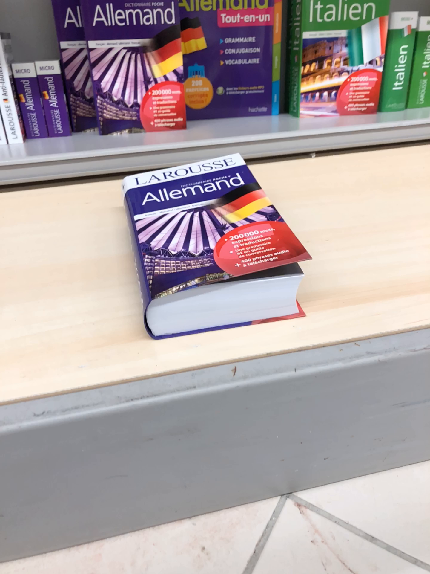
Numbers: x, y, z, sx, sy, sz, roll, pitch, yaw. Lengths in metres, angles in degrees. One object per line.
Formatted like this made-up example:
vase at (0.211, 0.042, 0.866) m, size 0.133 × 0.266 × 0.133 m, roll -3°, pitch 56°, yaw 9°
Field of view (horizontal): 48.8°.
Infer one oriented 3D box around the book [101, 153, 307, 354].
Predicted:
book at (-0.021, -0.040, 0.374) m, size 0.120 × 0.050 × 0.182 m, roll -8°, pitch 40°, yaw -11°
